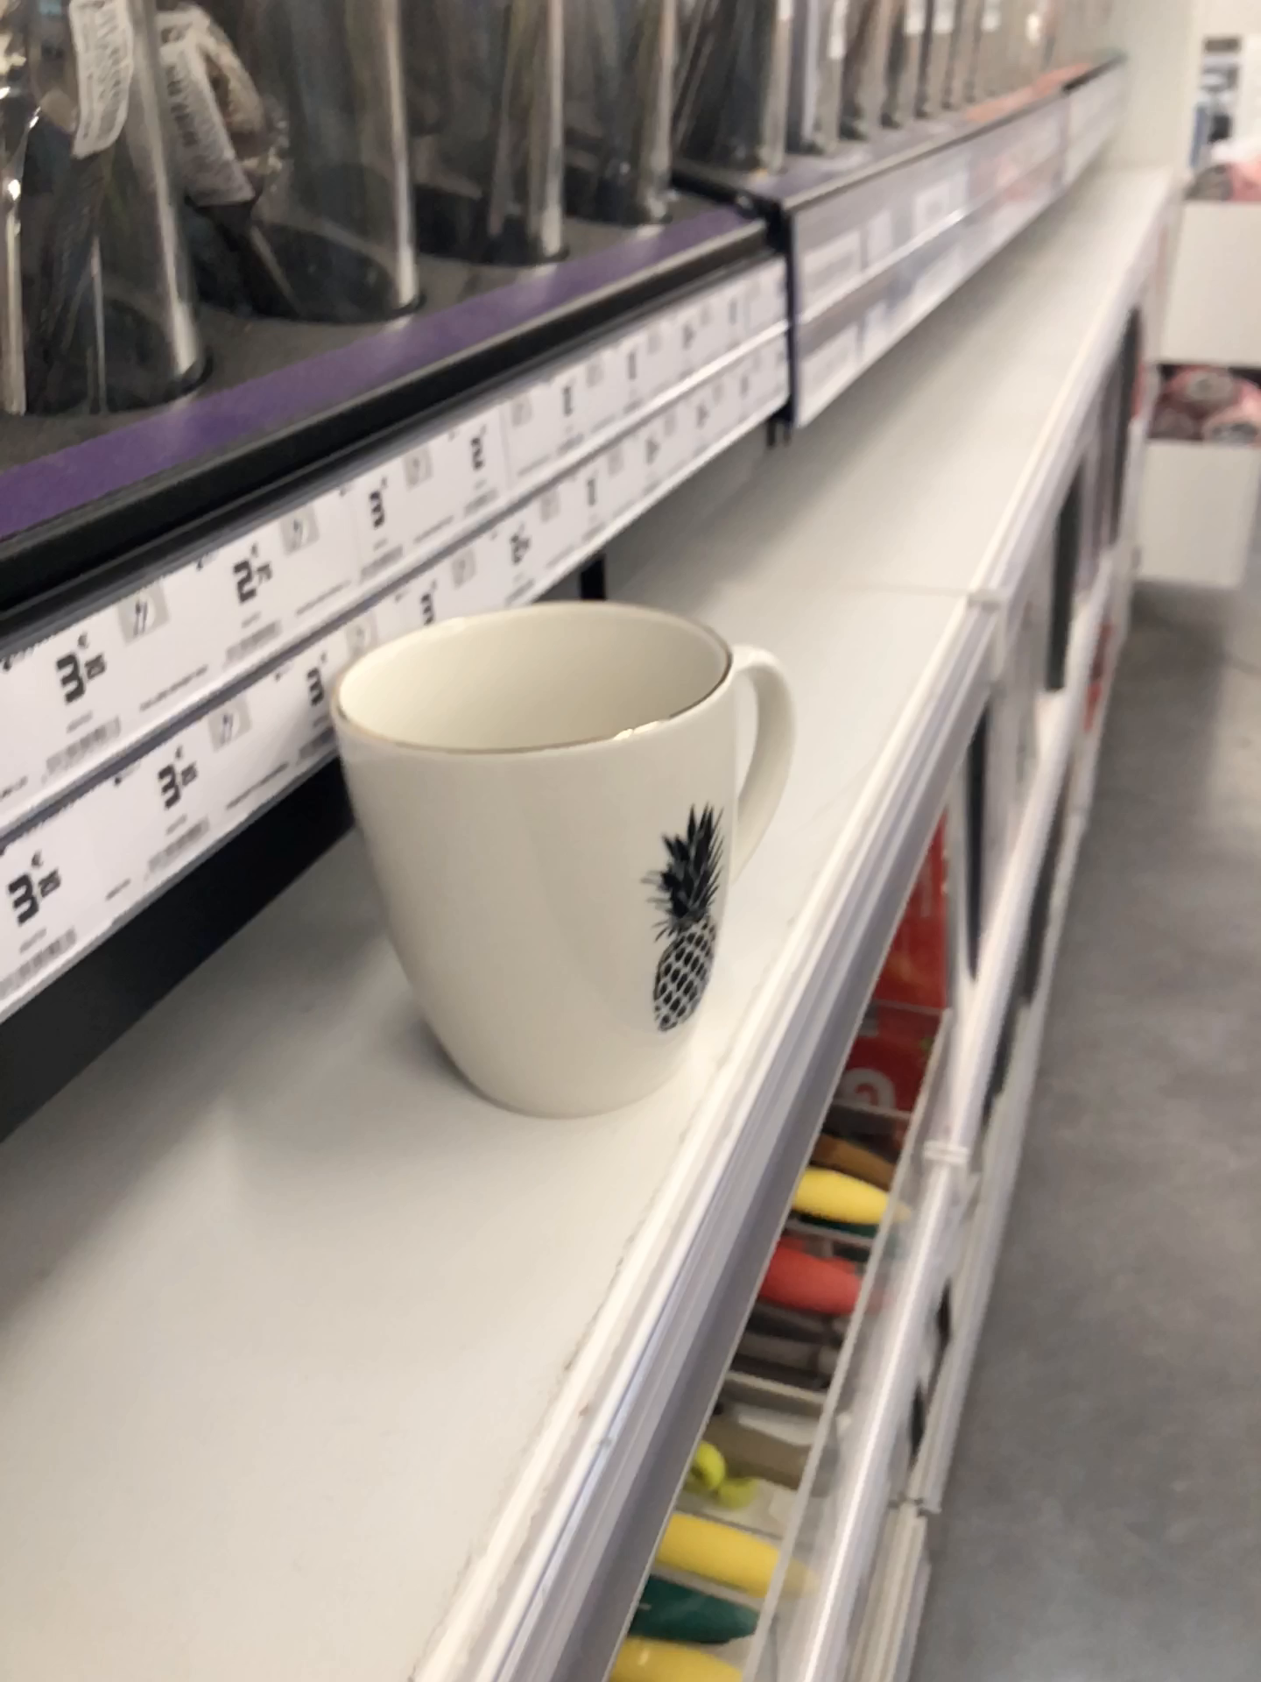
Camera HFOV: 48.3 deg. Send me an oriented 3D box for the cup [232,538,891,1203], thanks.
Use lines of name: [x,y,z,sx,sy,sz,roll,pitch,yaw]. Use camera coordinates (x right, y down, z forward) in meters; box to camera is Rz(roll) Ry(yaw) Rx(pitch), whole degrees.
cup: [-0.012,-0.002,0.322,0.115,0.093,0.082,-26,37,-34]
